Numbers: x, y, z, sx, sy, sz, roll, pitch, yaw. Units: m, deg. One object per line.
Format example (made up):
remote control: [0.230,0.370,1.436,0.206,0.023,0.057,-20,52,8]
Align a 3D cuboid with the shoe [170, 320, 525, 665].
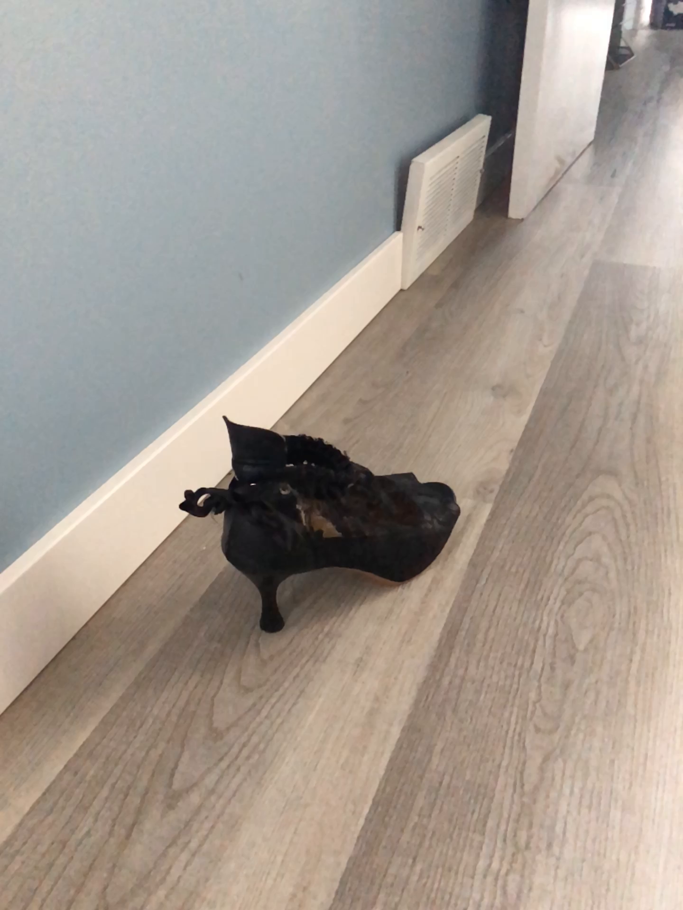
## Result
shoe: [0.011,0.015,0.533,0.220,0.139,0.100,-26,41,-31]
